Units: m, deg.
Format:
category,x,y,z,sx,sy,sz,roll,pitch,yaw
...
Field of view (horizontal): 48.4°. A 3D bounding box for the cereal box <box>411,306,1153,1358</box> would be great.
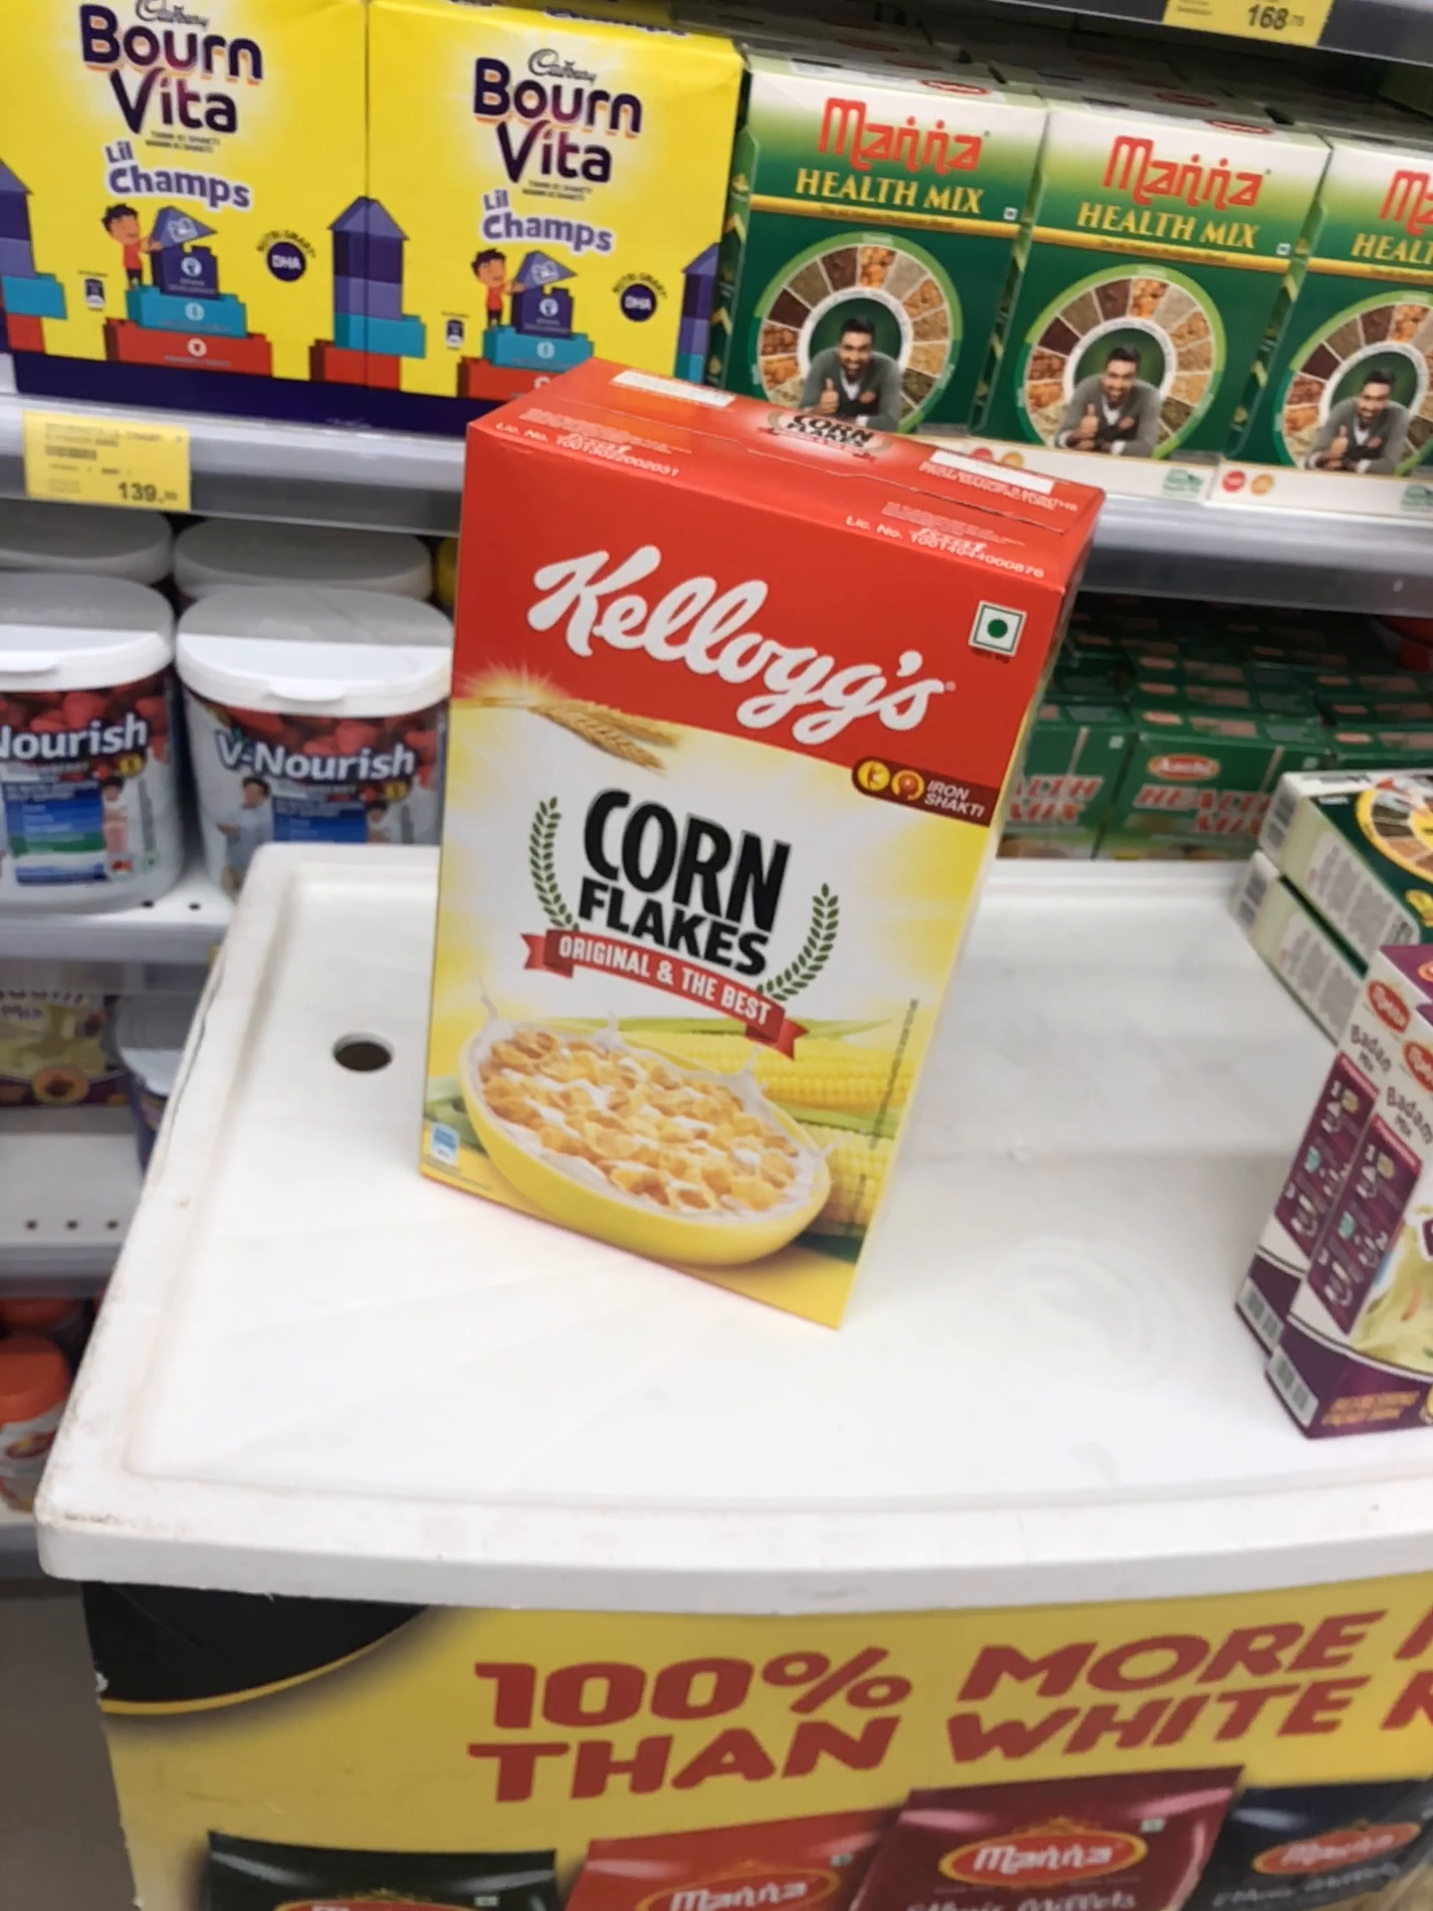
category,x,y,z,sx,sy,sz,roll,pitch,yaw
cereal box,0.006,-0.034,0.586,0.200,0.329,0.110,18,37,12
